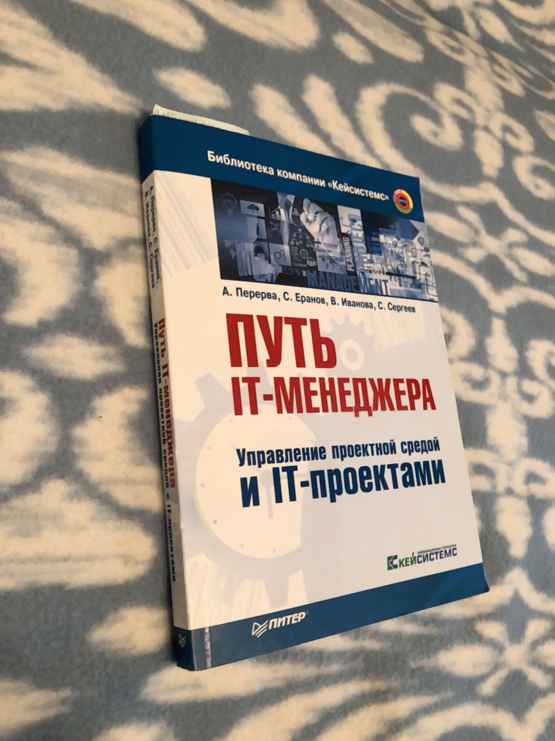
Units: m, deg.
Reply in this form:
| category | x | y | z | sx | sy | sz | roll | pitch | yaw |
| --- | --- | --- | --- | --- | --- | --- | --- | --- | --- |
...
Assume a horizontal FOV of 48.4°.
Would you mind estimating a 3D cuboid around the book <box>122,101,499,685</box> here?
| category | x | y | z | sx | sy | sz | roll | pitch | yaw |
| --- | --- | --- | --- | --- | --- | --- | --- | --- | --- |
| book | 0.021 | 0.002 | 0.291 | 0.173 | 0.019 | 0.228 | 1 | 77 | -32 |
